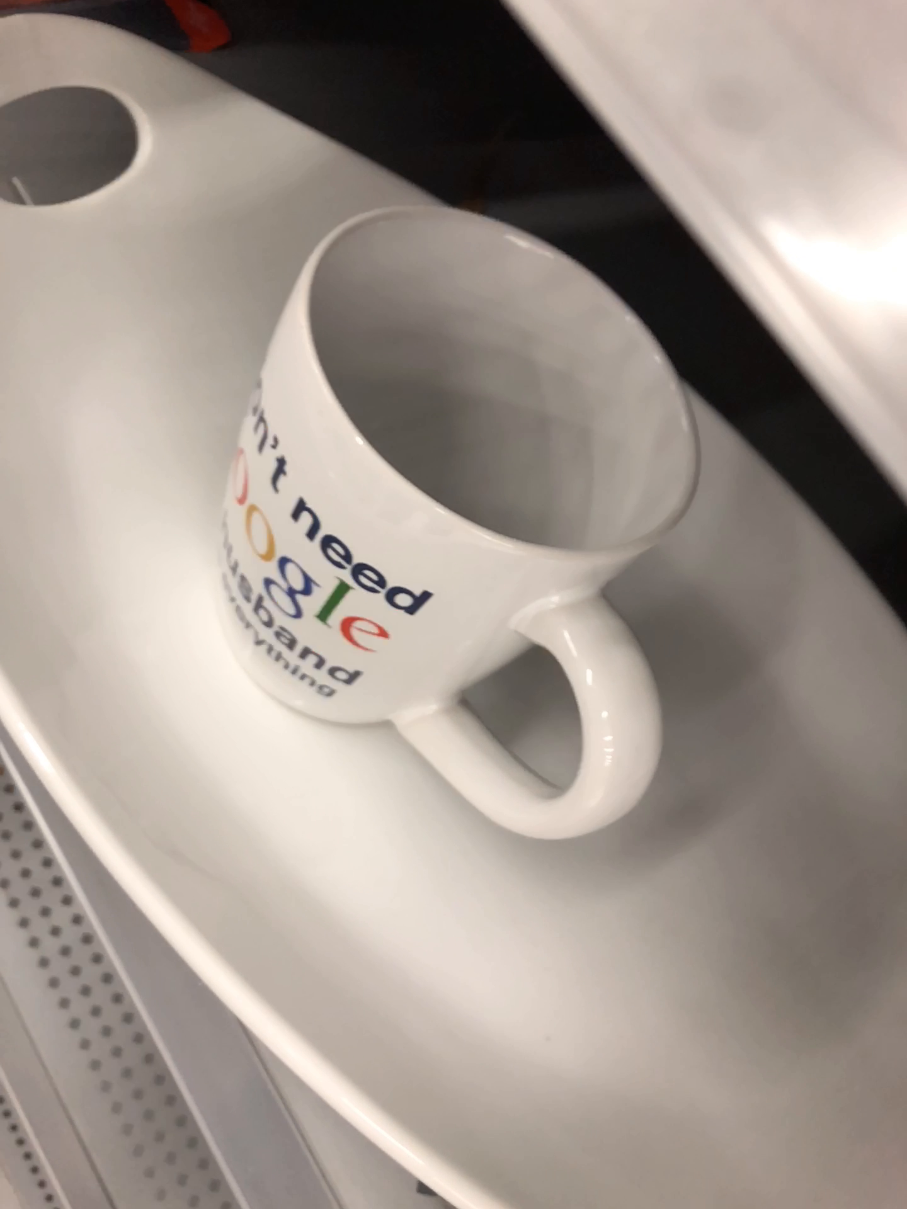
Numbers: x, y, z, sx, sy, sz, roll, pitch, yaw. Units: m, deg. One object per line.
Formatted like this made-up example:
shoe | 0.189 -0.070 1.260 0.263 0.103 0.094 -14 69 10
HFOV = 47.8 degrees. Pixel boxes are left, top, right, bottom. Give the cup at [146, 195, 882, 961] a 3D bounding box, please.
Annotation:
cup | 0.003 -0.010 0.274 0.104 0.108 0.154 -14 69 -33
